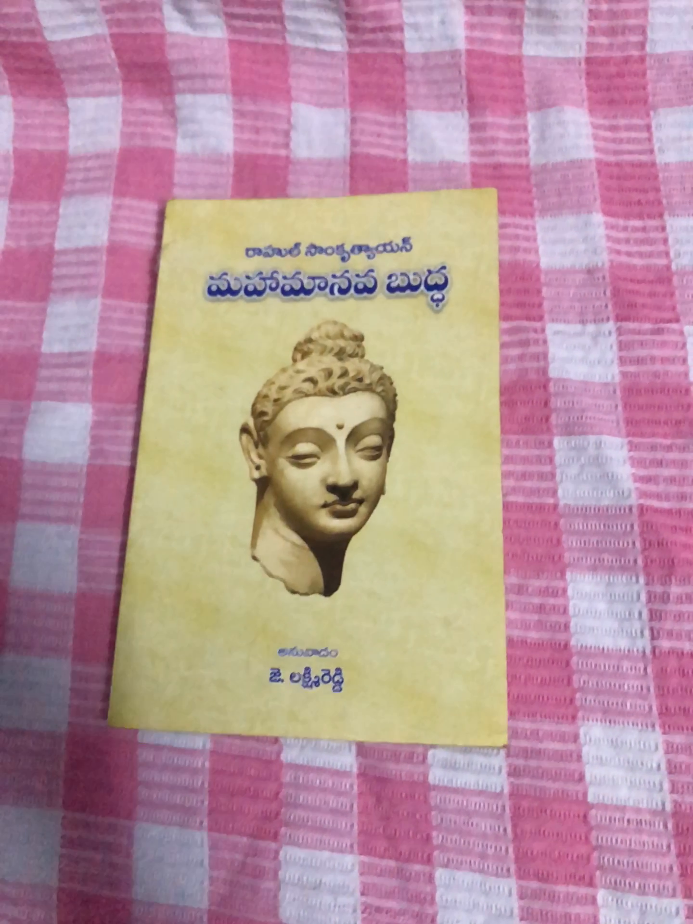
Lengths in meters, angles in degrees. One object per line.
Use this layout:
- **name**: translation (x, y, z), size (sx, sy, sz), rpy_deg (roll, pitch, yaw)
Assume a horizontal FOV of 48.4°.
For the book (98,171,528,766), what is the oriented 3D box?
- **book**: translation (-0.007, -0.008, 0.290), size (0.140, 0.020, 0.220), rpy_deg (1, 73, 6)
